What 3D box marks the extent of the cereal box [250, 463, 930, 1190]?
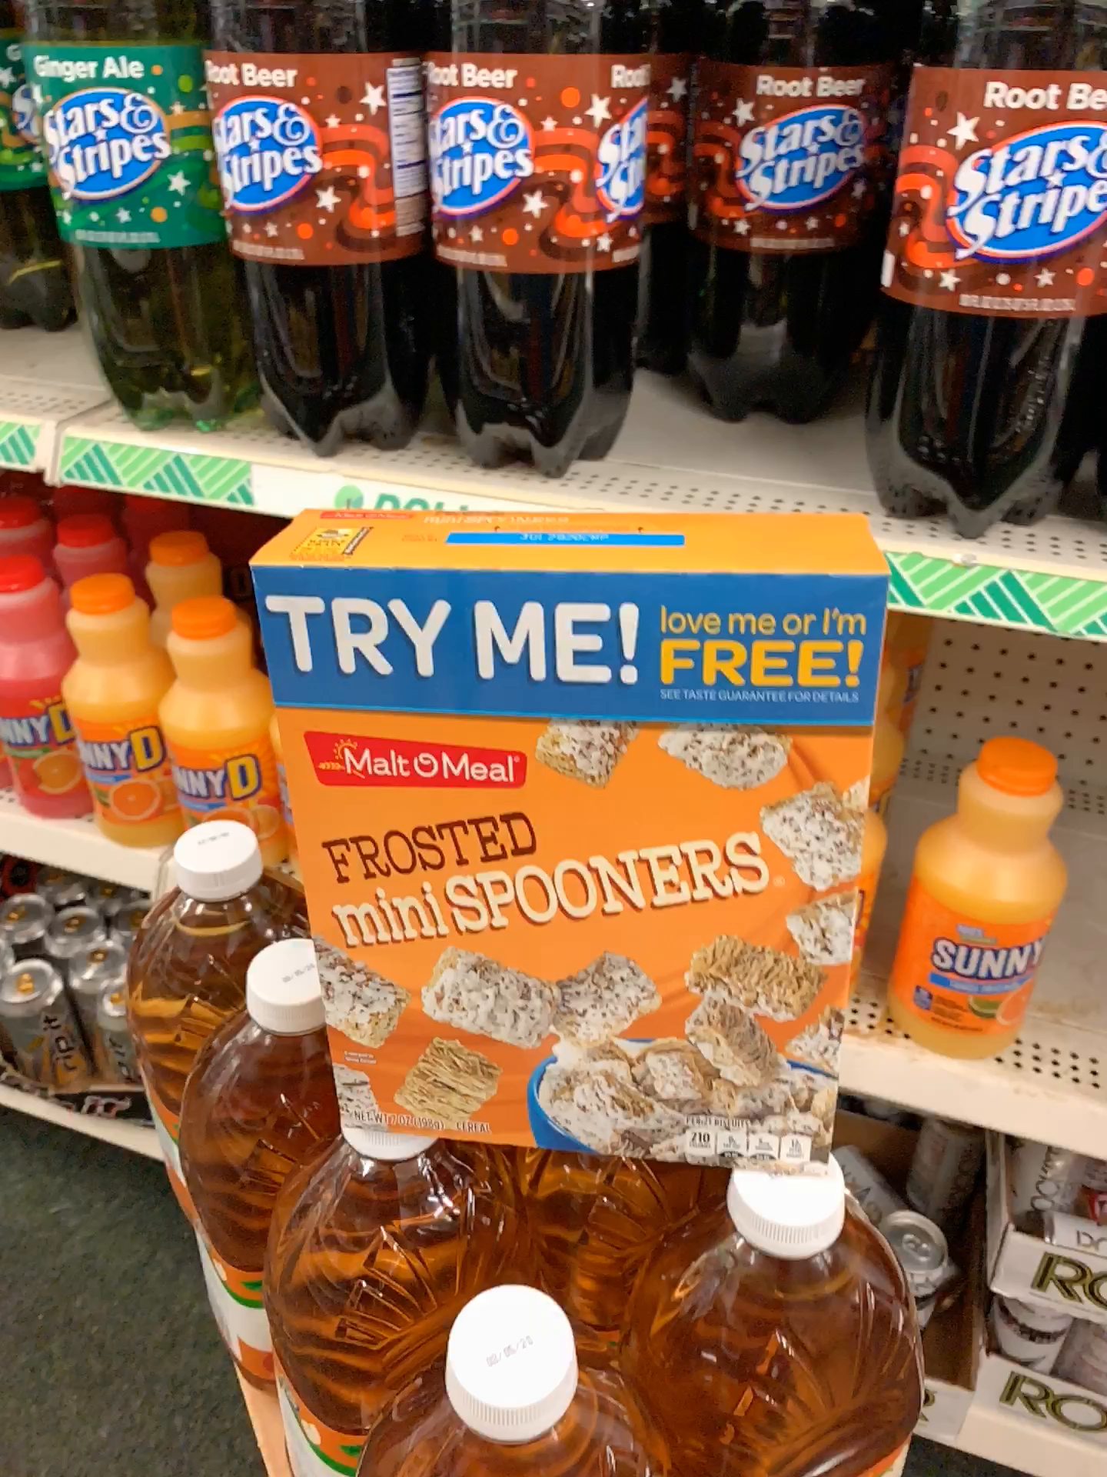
[{"bbox_3d":[0.009,0.033,0.362,0.170,0.219,0.060,3,27,5],"label":"cereal box"}]
